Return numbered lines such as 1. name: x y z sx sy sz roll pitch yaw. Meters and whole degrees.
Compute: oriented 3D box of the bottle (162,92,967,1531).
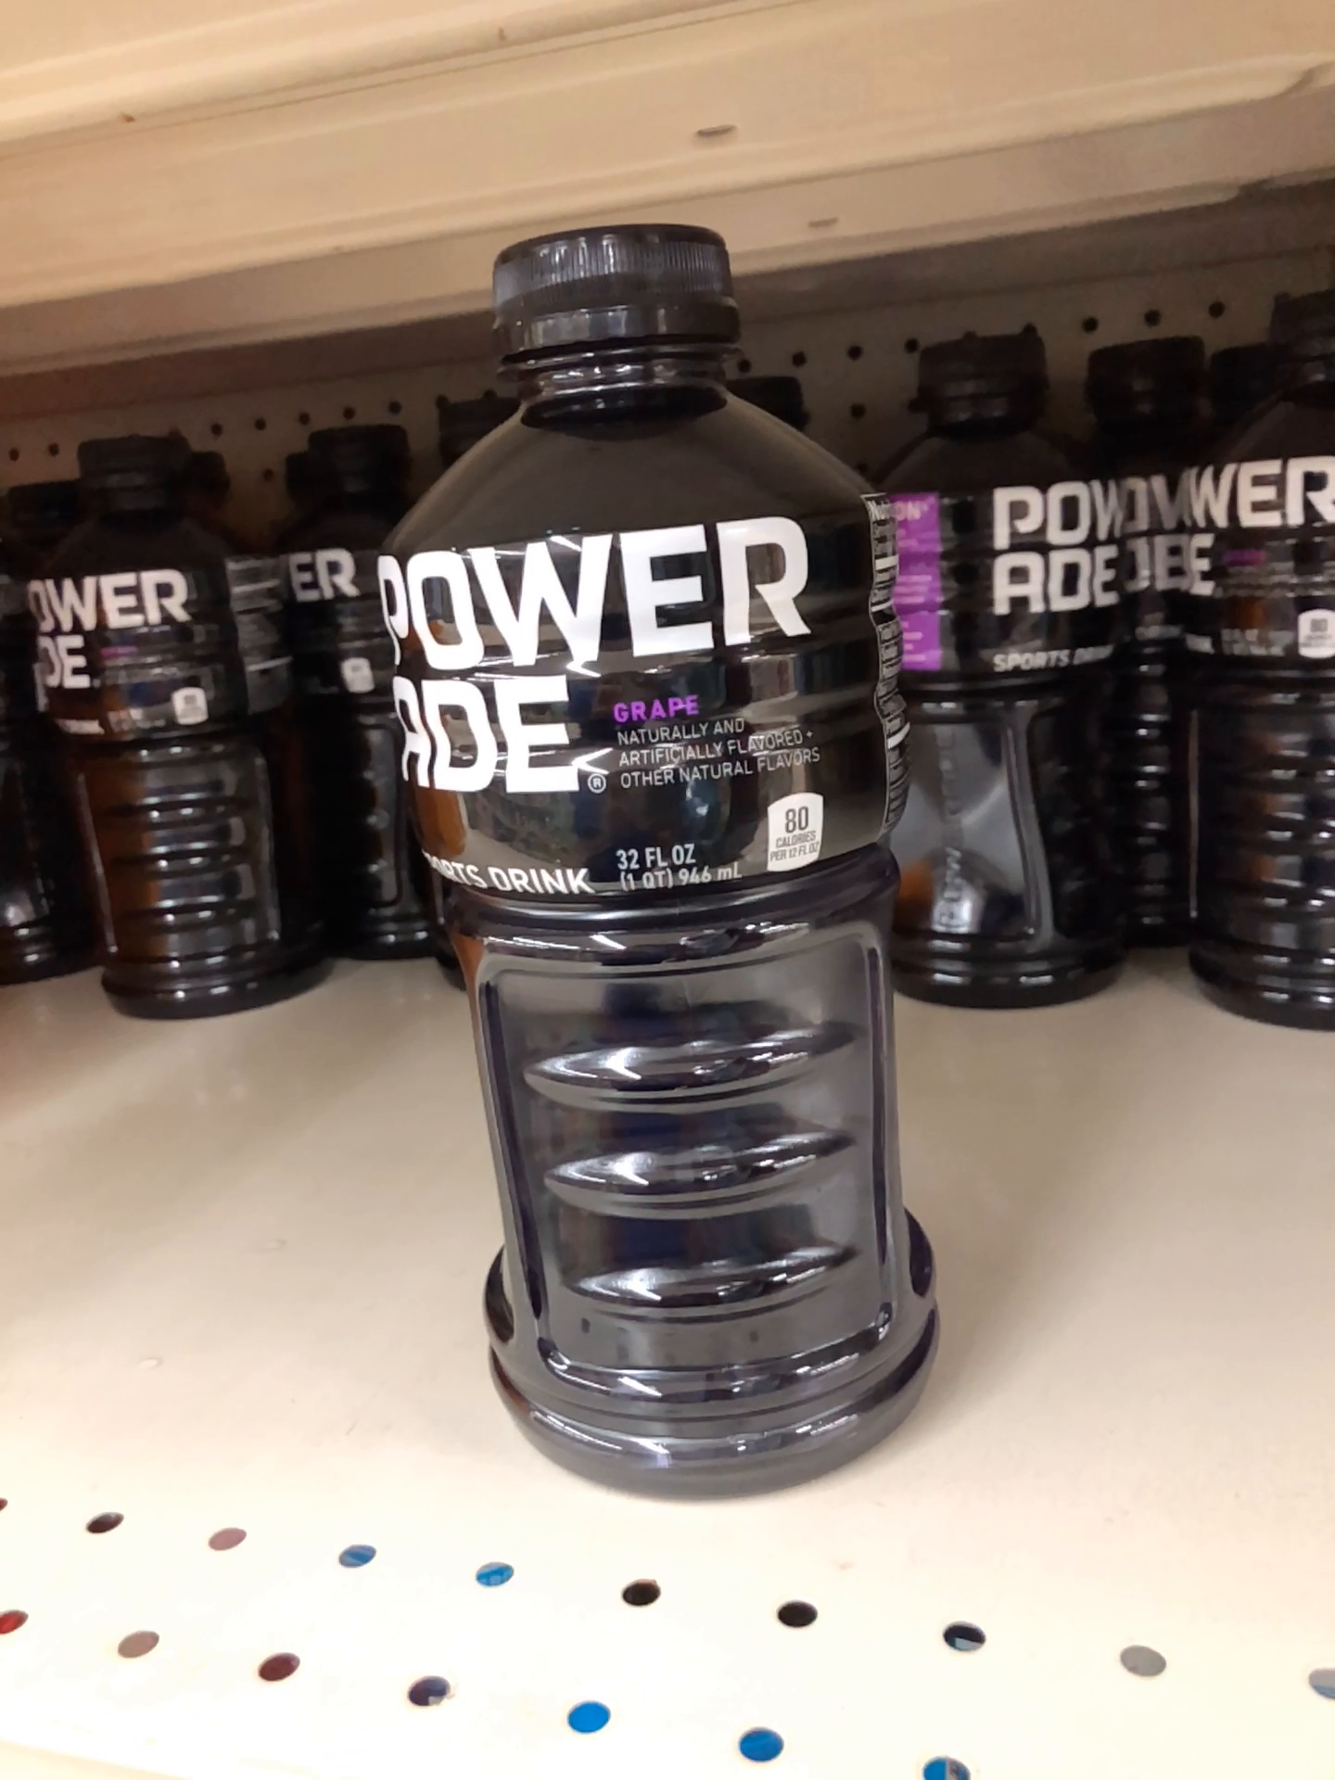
1. bottle: -0.004 -0.010 0.268 0.098 0.210 0.090 -5 15 1
